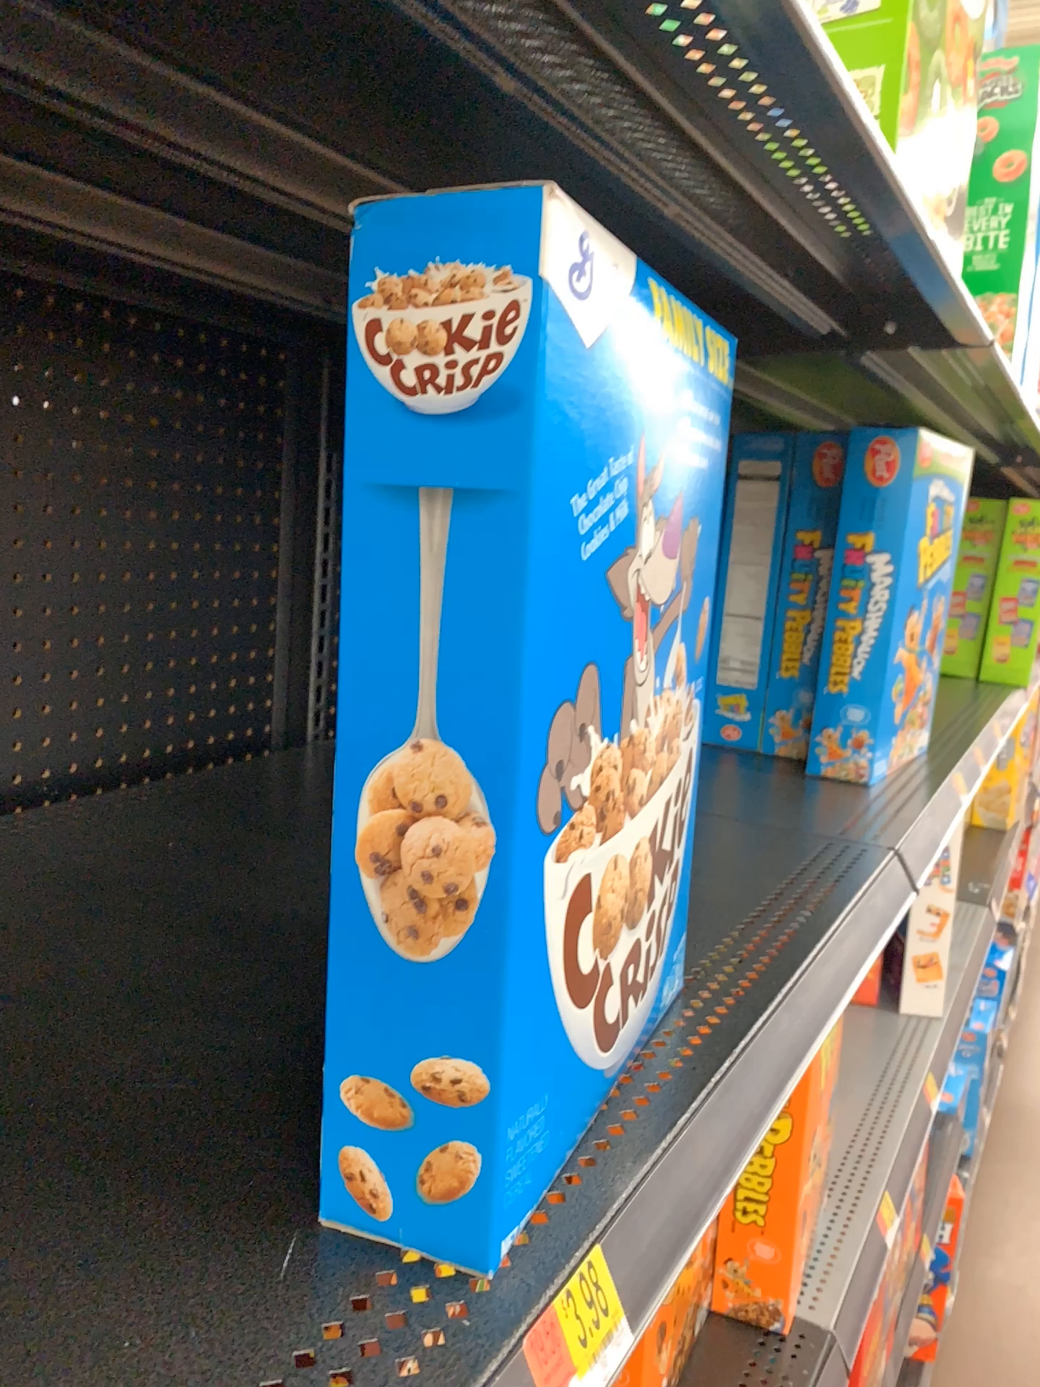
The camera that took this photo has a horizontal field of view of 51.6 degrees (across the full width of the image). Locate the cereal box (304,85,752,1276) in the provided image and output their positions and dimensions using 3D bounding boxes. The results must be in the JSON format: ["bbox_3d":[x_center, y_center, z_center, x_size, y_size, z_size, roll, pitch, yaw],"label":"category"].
[{"bbox_3d":[0.018,-0.011,0.428,0.070,0.339,0.251,8,12,20],"label":"cereal box"}]
